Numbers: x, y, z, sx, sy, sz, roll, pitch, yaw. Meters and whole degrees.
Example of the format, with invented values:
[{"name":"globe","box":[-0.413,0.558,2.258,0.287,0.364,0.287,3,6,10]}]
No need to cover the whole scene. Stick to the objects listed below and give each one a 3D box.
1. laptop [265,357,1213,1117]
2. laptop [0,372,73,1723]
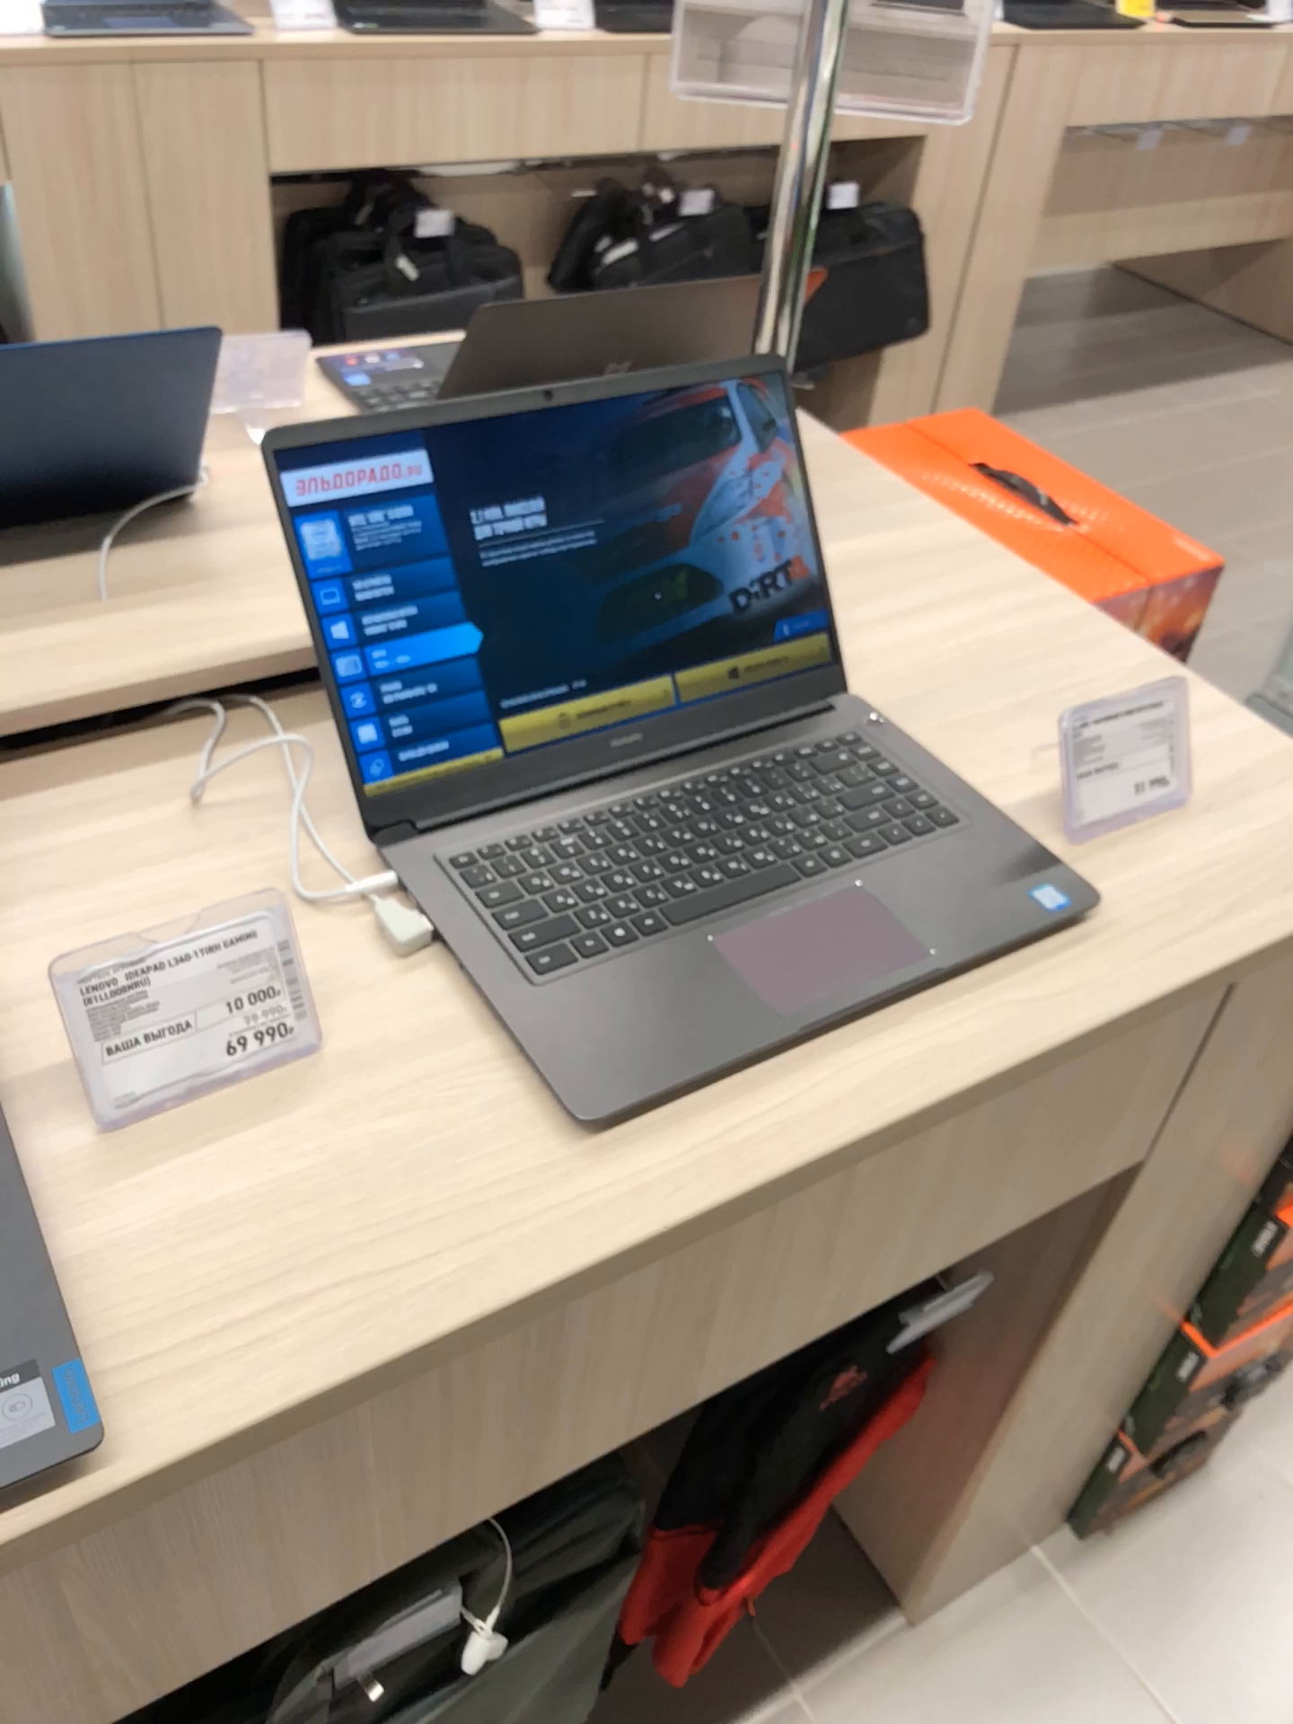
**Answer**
[{"name":"laptop","box":[0.030,-0.105,0.793,0.345,0.180,0.359,-19,46,-29]},{"name":"laptop","box":[-0.452,0.051,0.466,0.392,0.242,0.379,-17,45,-27]}]
